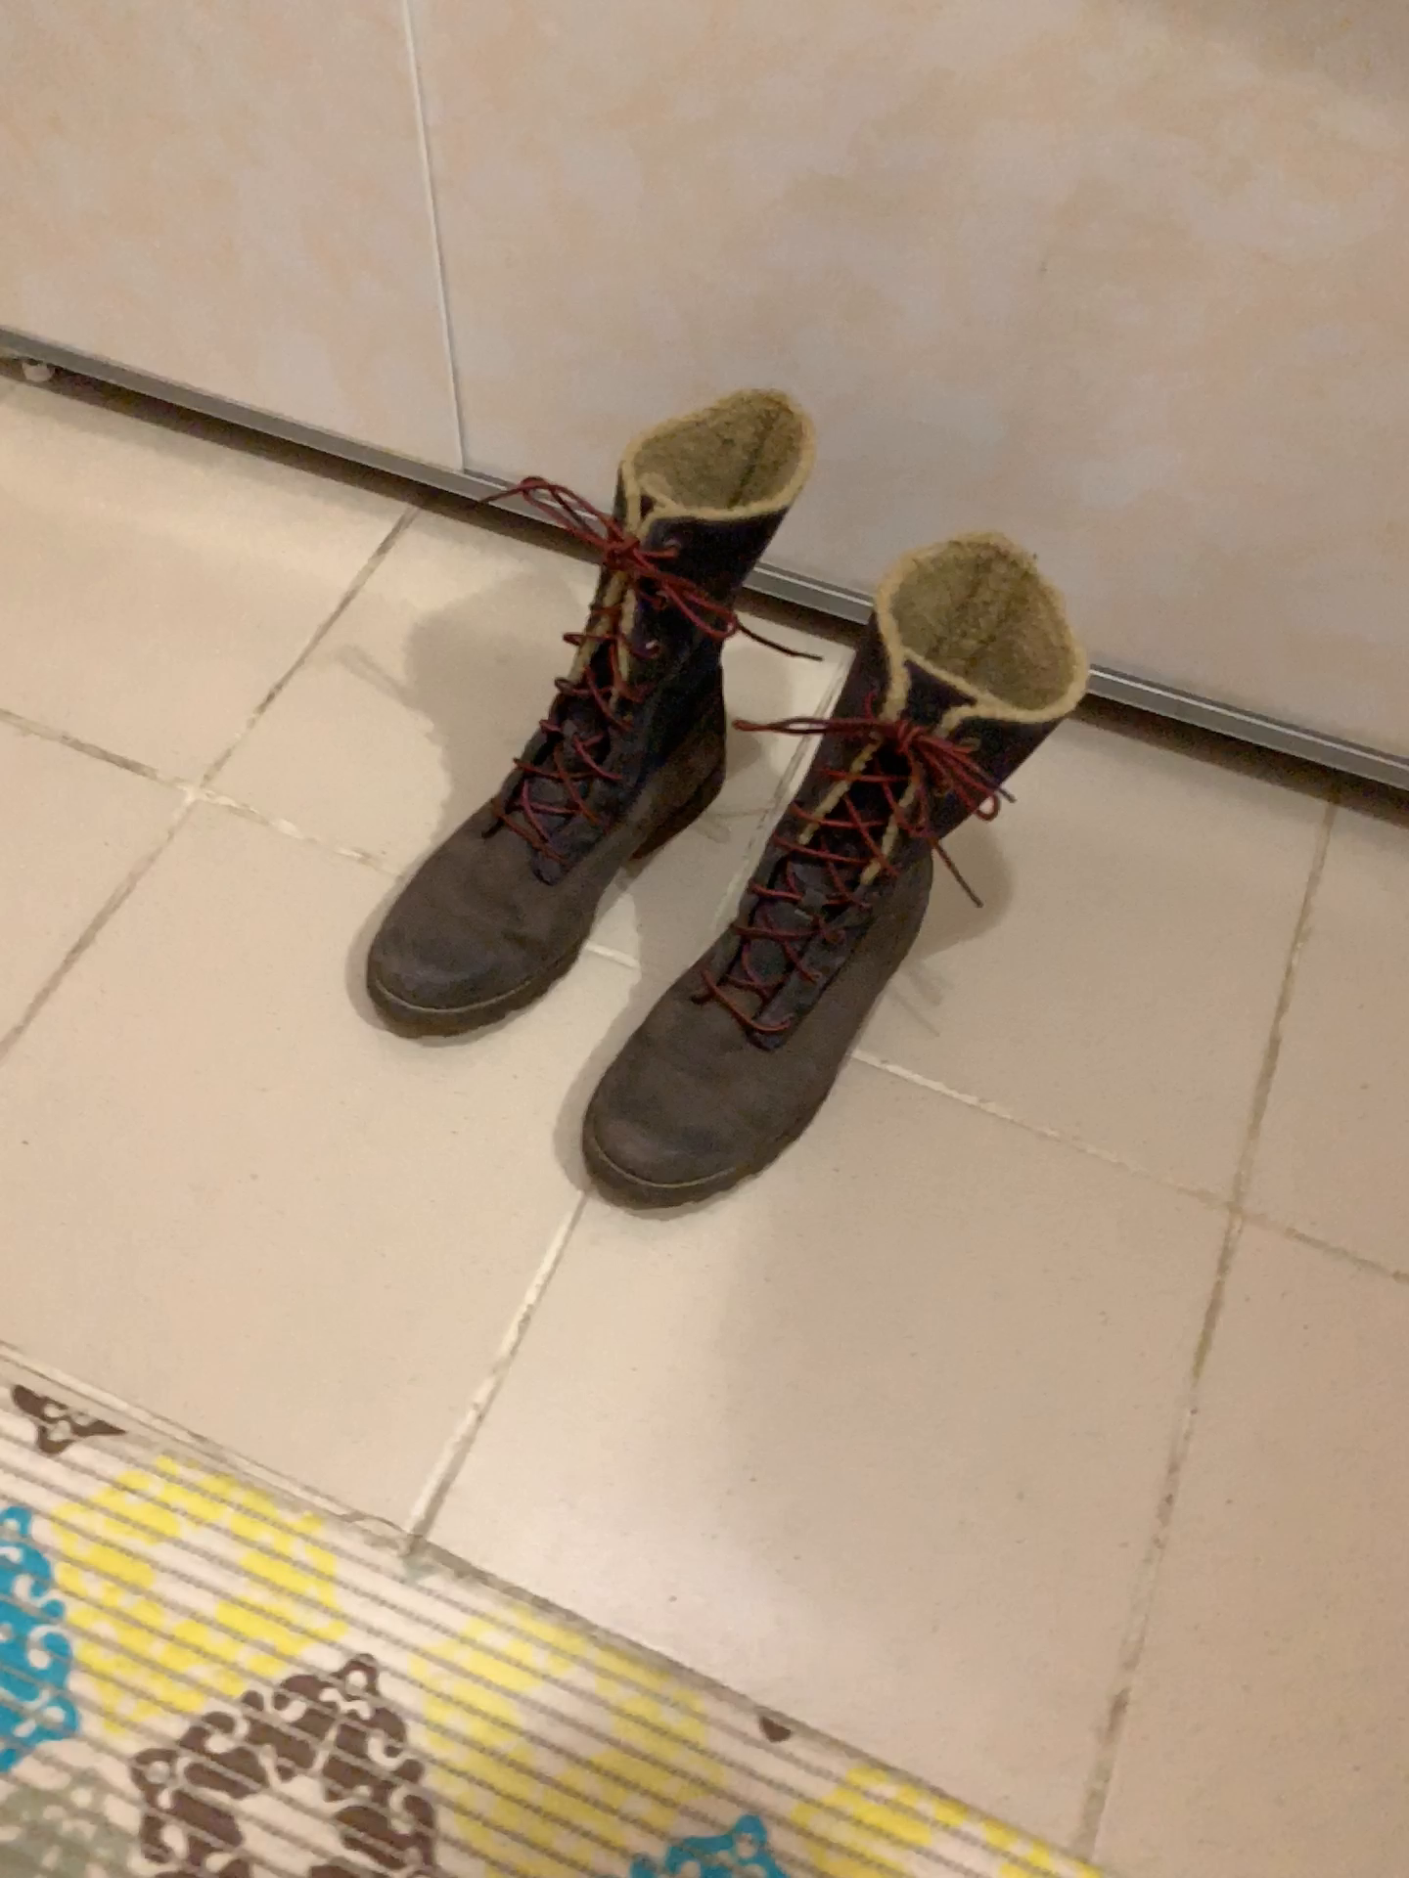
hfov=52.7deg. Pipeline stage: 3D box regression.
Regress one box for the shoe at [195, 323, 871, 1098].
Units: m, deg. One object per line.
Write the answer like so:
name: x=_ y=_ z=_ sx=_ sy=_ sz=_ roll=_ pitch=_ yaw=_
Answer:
shoe: x=-0.071 y=-0.098 z=0.675 sx=0.100 sy=0.249 sz=0.280 roll=39 pitch=65 yaw=13

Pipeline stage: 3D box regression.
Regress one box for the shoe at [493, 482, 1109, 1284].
shoe: x=0.050 y=-0.015 z=0.666 sx=0.100 sy=0.249 sz=0.280 roll=32 pitch=66 yaw=18
